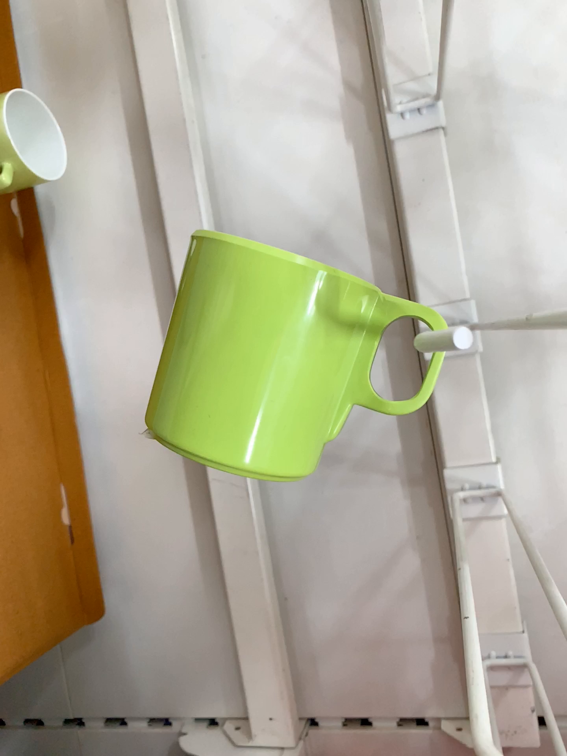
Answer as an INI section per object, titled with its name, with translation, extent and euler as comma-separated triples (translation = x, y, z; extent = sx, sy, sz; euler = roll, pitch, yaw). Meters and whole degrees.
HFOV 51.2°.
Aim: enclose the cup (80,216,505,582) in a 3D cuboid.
[cup]
translation = 0.007, 0.001, 0.225
extent = 0.100, 0.110, 0.080
euler = -28, 135, -79
